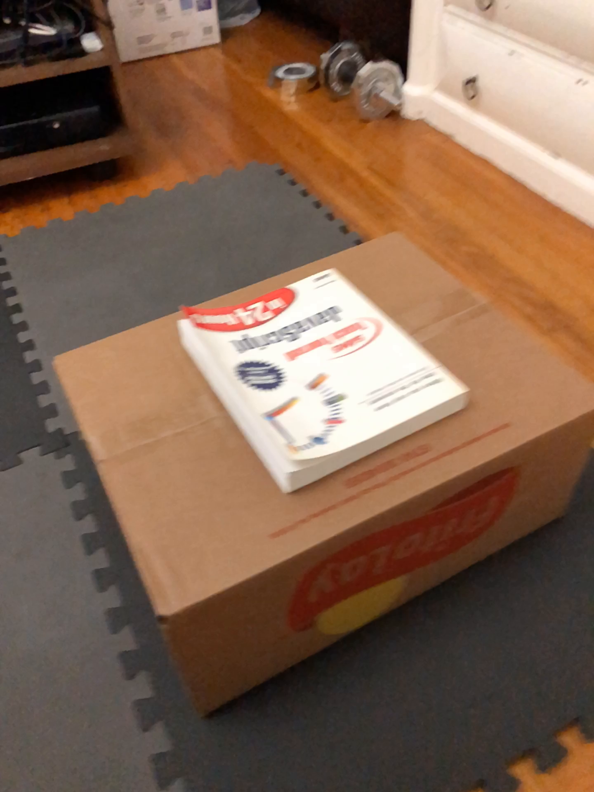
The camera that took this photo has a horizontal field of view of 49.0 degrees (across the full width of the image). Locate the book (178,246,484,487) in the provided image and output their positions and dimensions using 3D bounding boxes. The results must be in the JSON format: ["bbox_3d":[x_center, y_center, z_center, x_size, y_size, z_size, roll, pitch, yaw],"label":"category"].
[{"bbox_3d":[0.024,-0.047,0.645,0.200,0.030,0.241,-25,50,-18],"label":"book"}]
